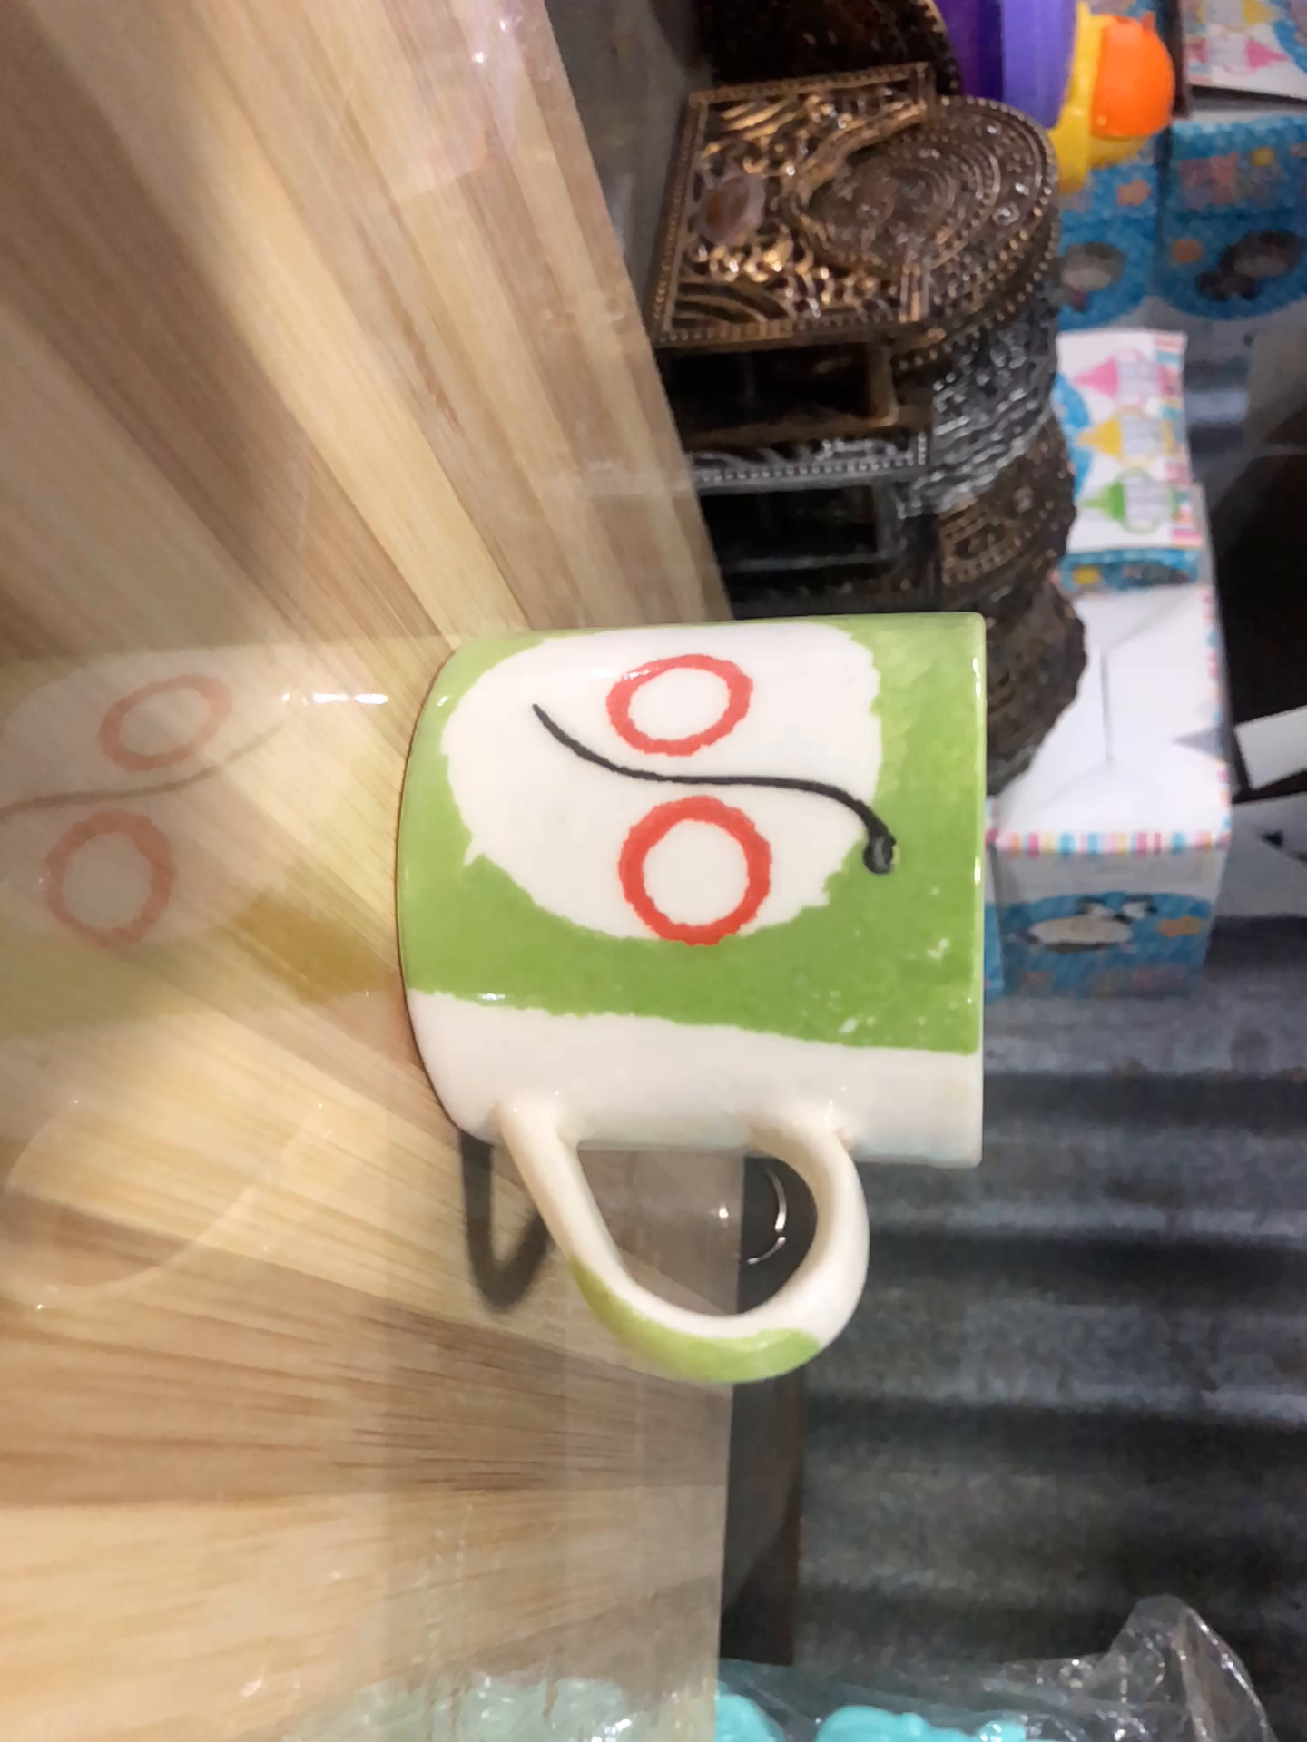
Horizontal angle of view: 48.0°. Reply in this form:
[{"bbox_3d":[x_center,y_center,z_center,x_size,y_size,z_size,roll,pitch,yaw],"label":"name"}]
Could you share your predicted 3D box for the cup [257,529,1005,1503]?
[{"bbox_3d":[0.008,0.020,0.188,0.070,0.070,0.100,71,22,-58],"label":"cup"}]
